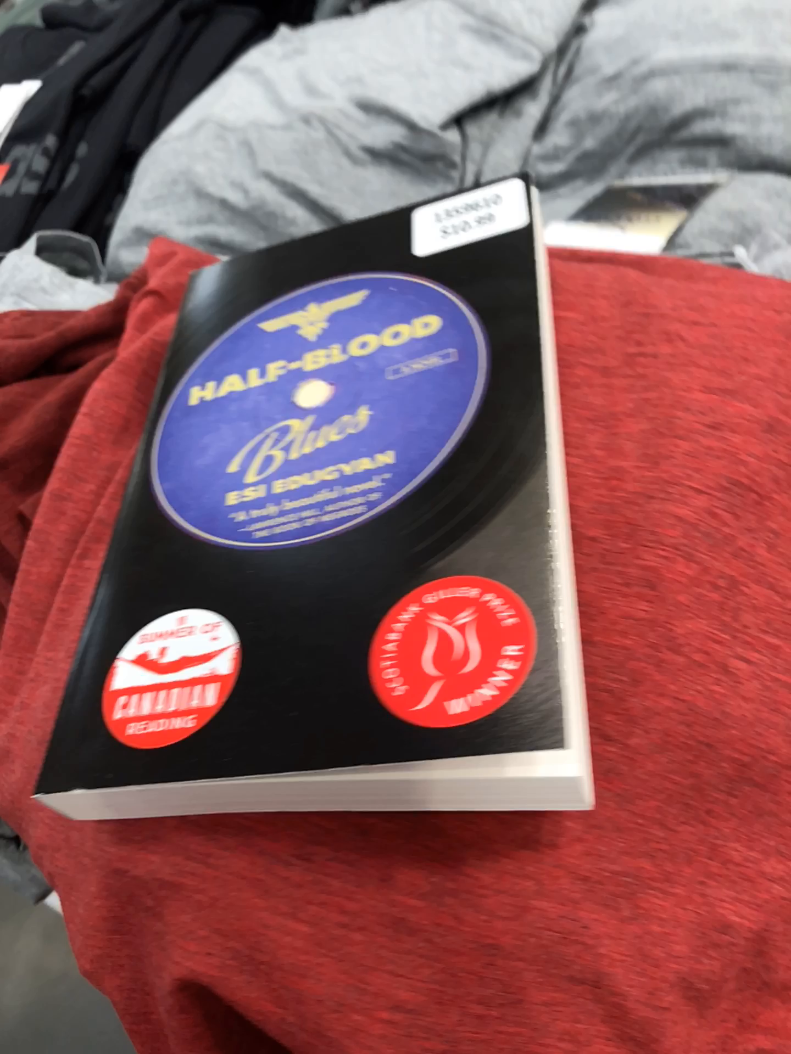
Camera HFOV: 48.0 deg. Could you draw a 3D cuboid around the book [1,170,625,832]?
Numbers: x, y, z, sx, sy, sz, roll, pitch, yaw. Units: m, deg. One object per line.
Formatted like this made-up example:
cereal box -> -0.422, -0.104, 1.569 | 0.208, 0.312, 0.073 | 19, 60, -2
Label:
book -> -0.014, -0.022, 0.273 | 0.146, 0.025, 0.220 | -6, 52, 15
